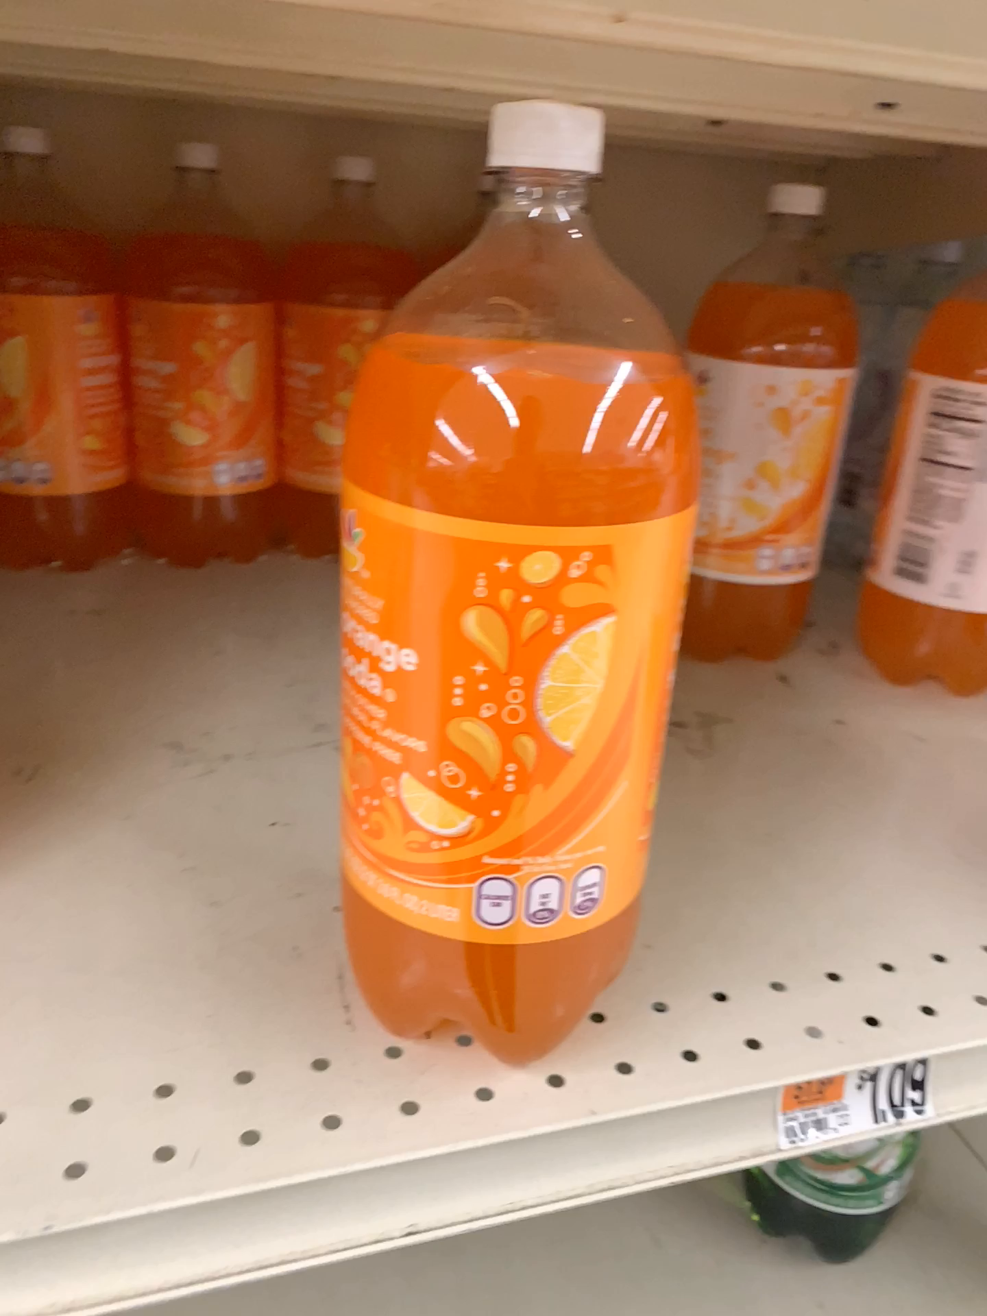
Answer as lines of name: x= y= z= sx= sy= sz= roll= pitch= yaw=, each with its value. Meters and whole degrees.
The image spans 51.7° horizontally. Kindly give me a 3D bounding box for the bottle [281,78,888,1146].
bottle: x=0.015 y=-0.015 z=0.329 sx=0.120 sy=0.288 sz=0.110 roll=4 pitch=24 yaw=-2
